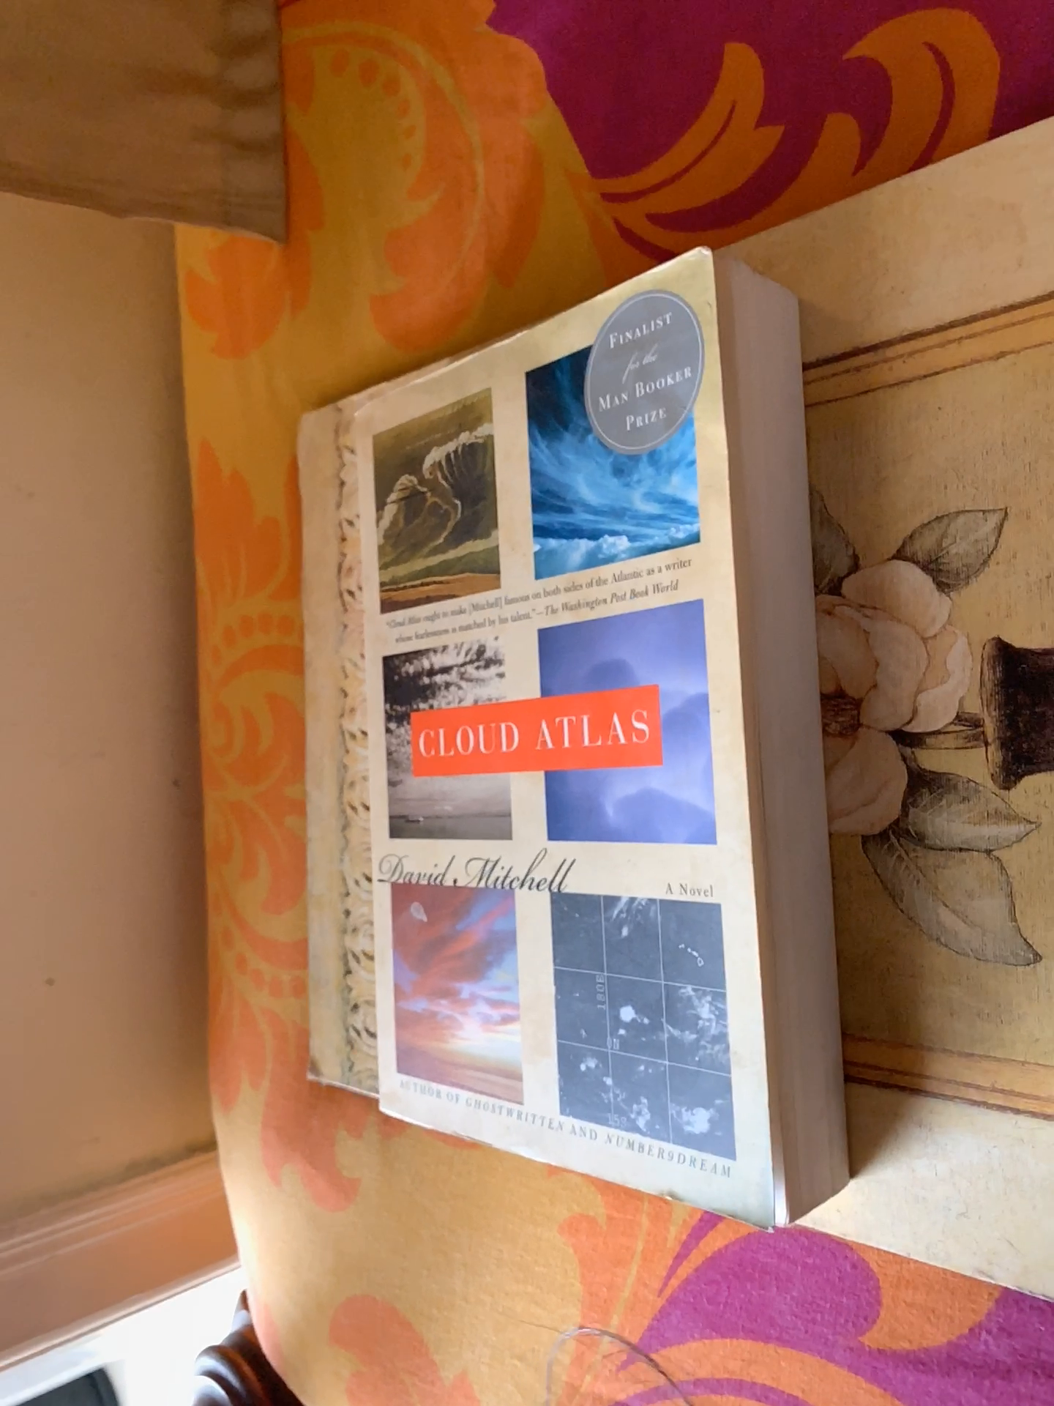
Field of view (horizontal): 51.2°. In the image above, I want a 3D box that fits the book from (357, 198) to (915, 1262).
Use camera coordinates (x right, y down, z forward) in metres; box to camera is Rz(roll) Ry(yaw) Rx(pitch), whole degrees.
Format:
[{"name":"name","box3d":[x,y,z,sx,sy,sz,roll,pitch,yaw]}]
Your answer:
[{"name":"book","box3d":[0.015,0.007,0.258,0.131,0.040,0.190,-6,84,48]}]
